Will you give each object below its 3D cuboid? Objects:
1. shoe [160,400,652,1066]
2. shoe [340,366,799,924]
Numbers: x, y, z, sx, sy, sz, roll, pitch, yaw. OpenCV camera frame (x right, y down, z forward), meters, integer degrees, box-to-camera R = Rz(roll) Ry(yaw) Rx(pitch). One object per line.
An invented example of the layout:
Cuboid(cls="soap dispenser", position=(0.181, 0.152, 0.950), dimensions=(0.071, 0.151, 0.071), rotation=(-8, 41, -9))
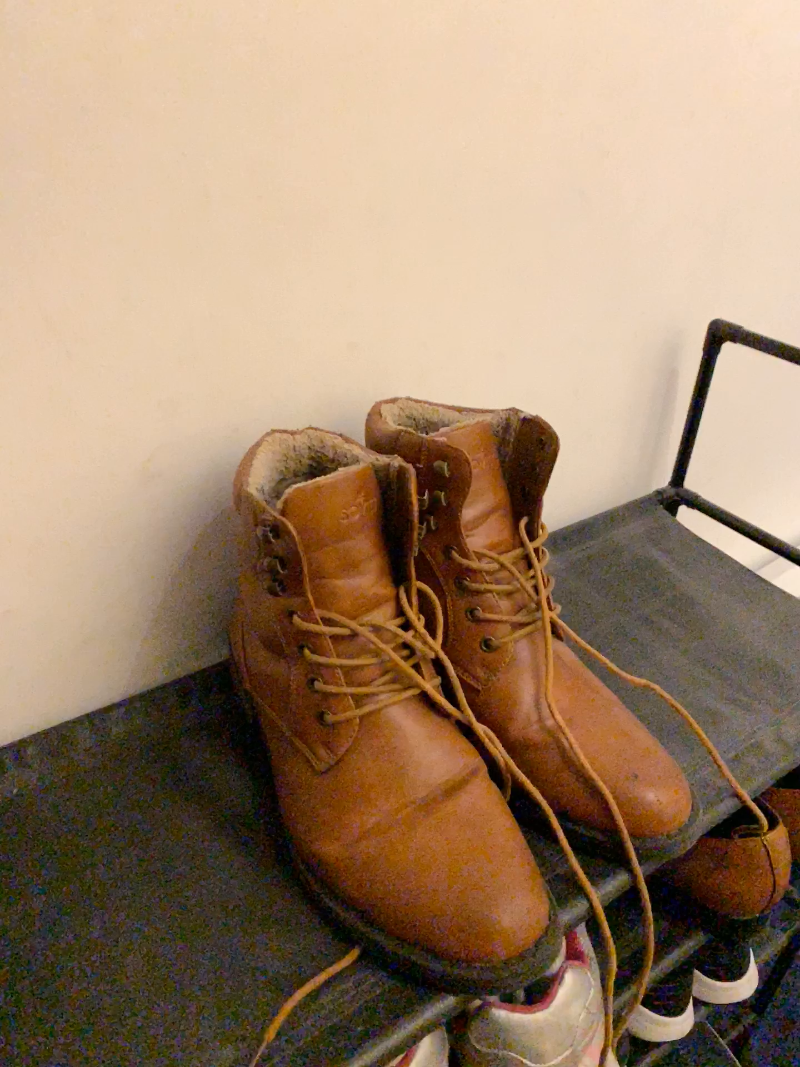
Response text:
Cuboid(cls="shoe", position=(-0.023, 0.078, 0.438), dimensions=(0.110, 0.198, 0.272), rotation=(-15, 35, -27))
Cuboid(cls="shoe", position=(0.079, 0.044, 0.475), dimensions=(0.110, 0.198, 0.241), rotation=(-20, 37, -33))
